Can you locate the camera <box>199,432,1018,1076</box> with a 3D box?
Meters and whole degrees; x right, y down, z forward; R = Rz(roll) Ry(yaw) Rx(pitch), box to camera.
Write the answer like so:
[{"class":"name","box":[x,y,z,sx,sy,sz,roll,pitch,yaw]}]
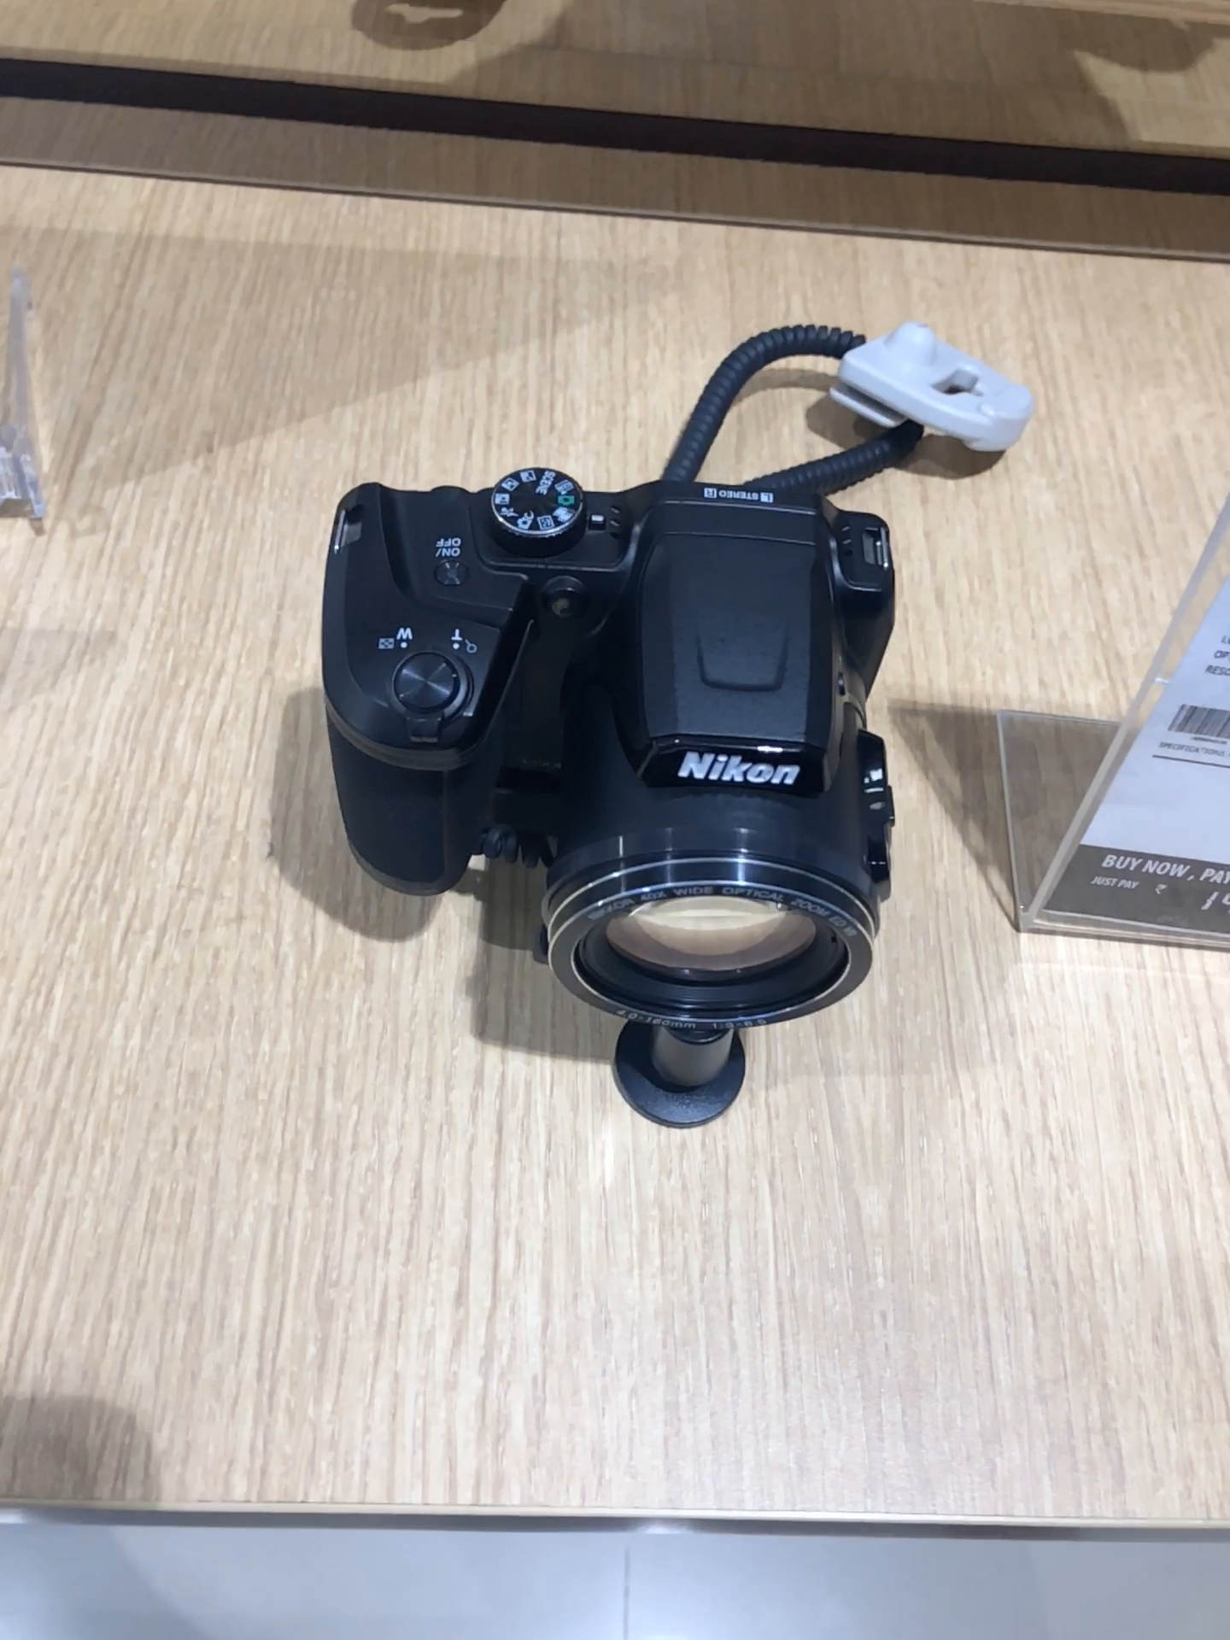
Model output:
[{"class":"camera","box":[-0.002,-0.010,0.253,0.120,0.070,0.090,2,58,-4]}]
